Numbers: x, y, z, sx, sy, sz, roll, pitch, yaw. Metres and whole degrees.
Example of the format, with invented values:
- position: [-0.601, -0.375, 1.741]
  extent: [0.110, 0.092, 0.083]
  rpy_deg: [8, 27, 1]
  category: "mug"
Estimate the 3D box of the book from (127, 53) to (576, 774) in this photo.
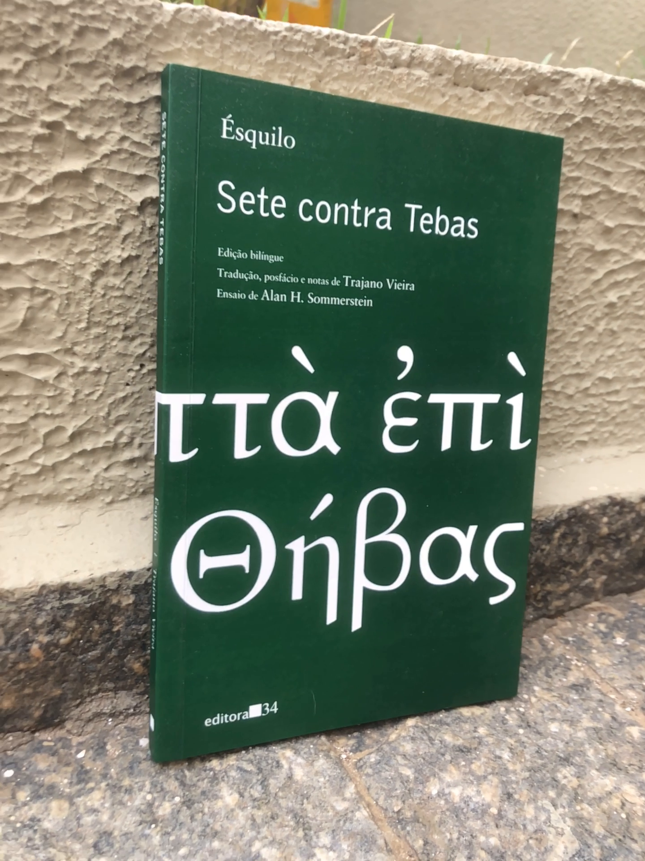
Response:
- position: [0.014, -0.004, 0.229]
  extent: [0.140, 0.196, 0.020]
  rpy_deg: [-2, 6, -21]
  category: "book"
